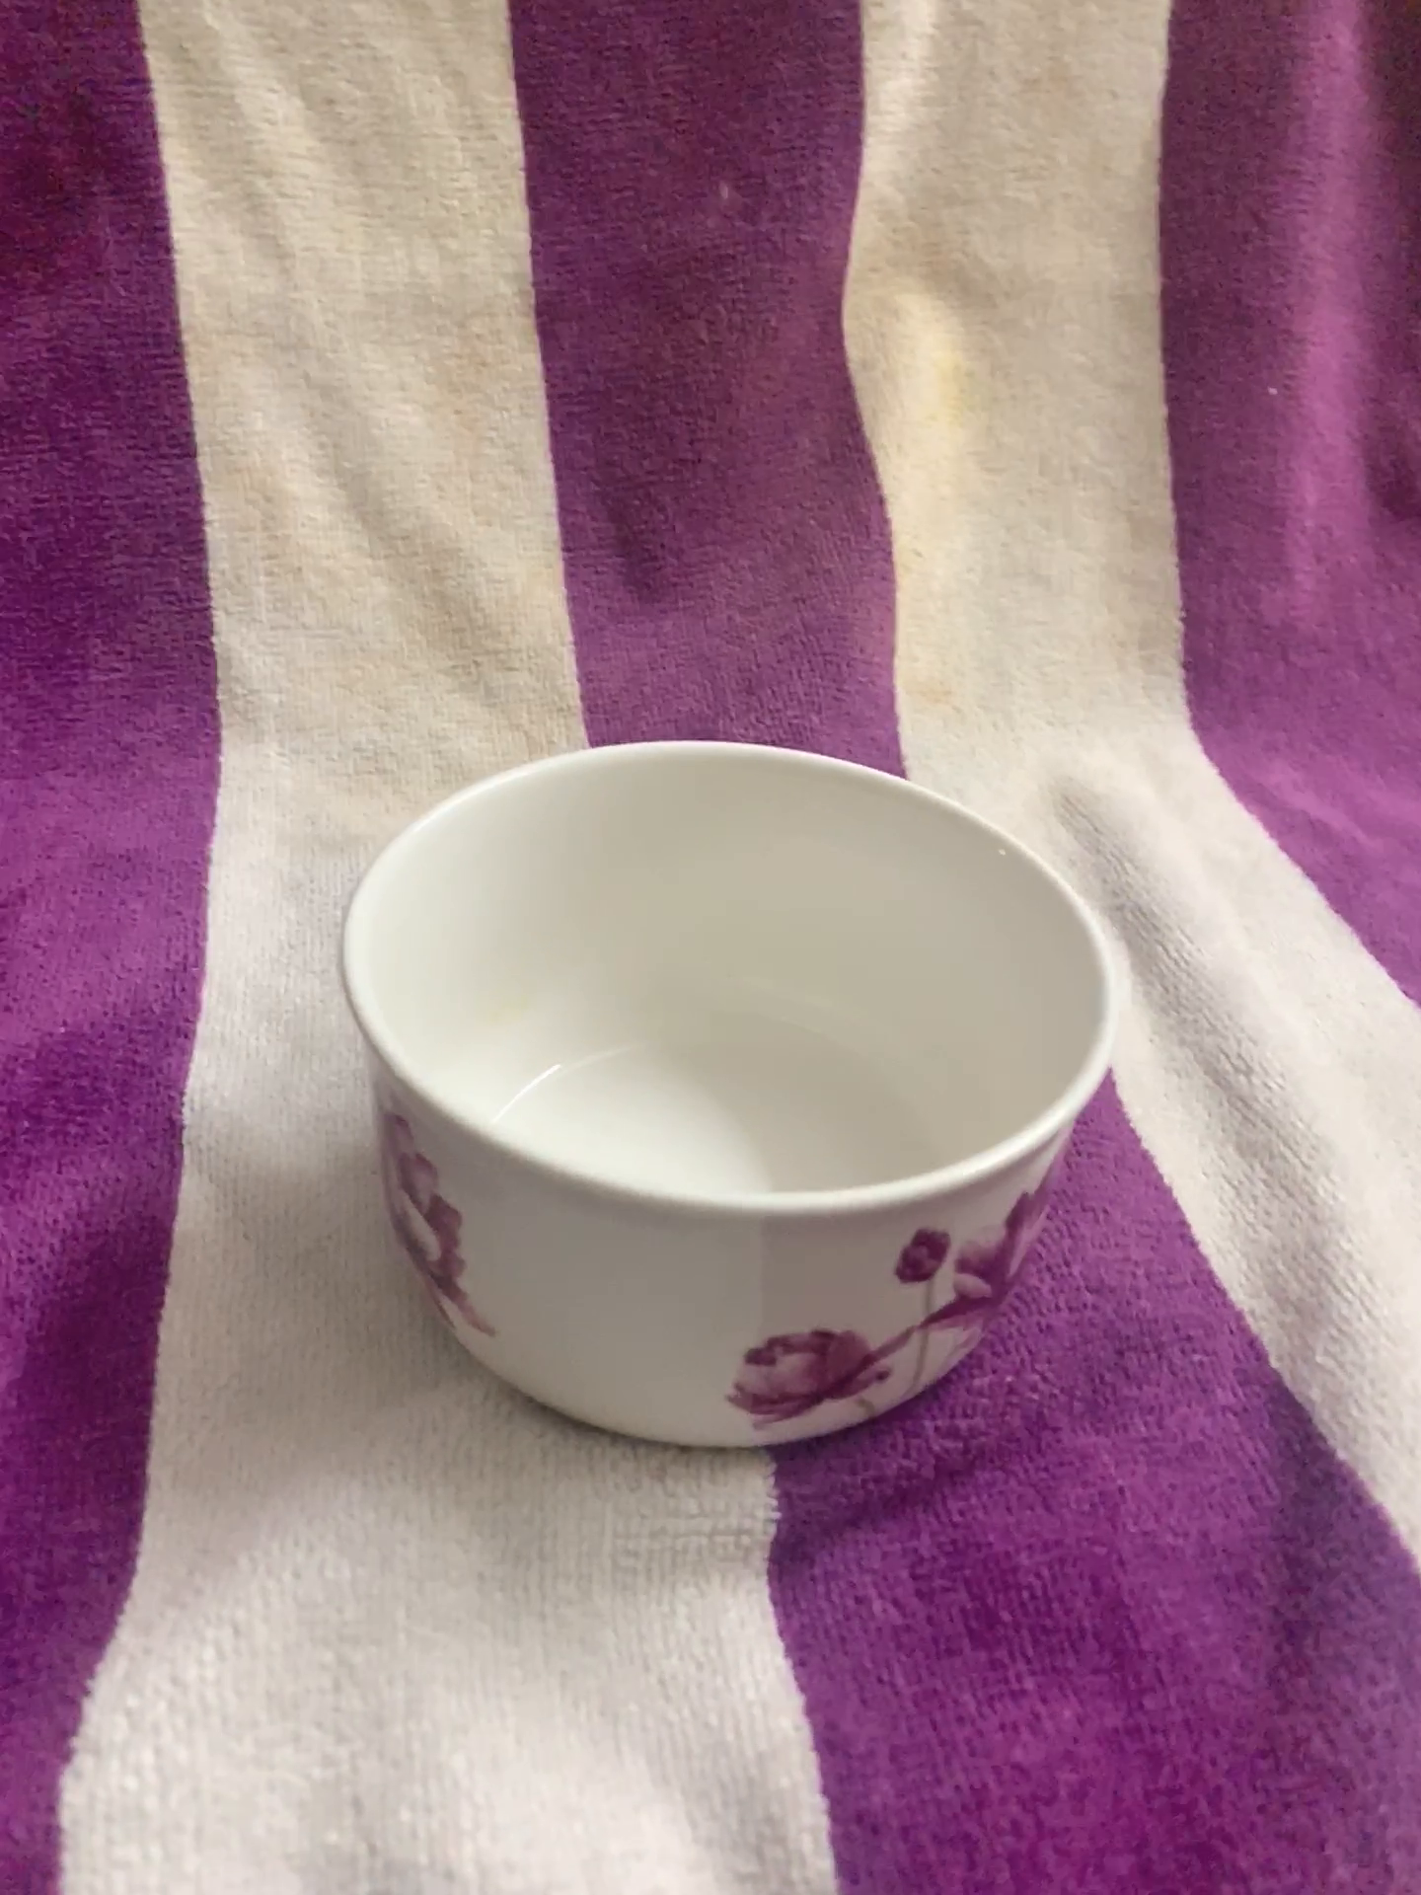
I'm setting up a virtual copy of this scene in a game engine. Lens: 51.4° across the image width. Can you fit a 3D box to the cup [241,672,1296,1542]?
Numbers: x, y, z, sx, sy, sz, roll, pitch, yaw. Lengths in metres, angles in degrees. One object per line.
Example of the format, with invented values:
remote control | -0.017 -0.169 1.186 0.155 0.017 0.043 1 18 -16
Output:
cup | -0.003 0.011 0.201 0.110 0.050 0.101 3 37 -2
